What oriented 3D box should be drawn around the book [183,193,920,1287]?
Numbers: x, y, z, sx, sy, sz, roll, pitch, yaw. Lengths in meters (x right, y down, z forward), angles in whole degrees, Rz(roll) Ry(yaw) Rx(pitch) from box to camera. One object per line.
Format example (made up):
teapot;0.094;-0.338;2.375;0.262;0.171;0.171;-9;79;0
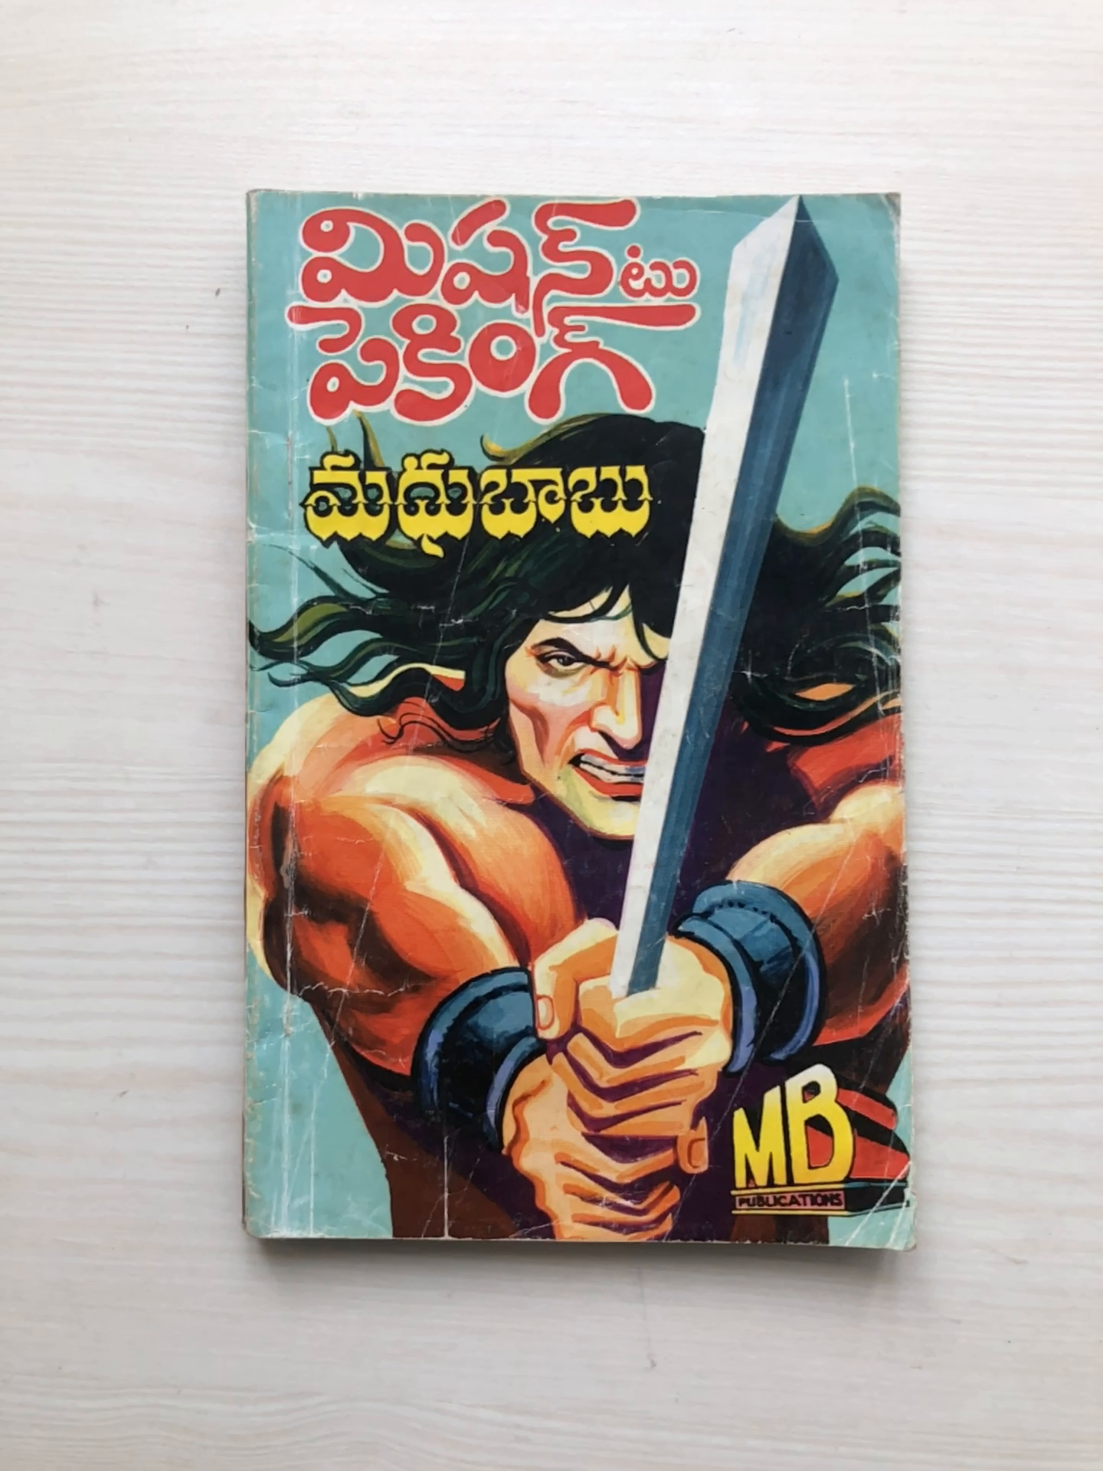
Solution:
book;0.000;0.000;0.185;0.100;0.030;0.150;0;88;1
